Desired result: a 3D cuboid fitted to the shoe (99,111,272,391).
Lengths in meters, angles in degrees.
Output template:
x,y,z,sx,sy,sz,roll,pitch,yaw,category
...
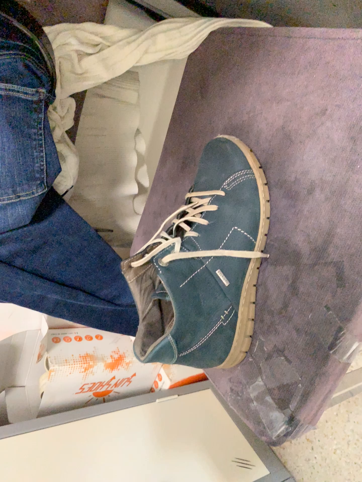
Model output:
x,y,z,sx,sy,sz,roll,pitch,yaw,category
0.006,0.011,0.407,0.104,0.142,0.244,0,86,52,shoe
